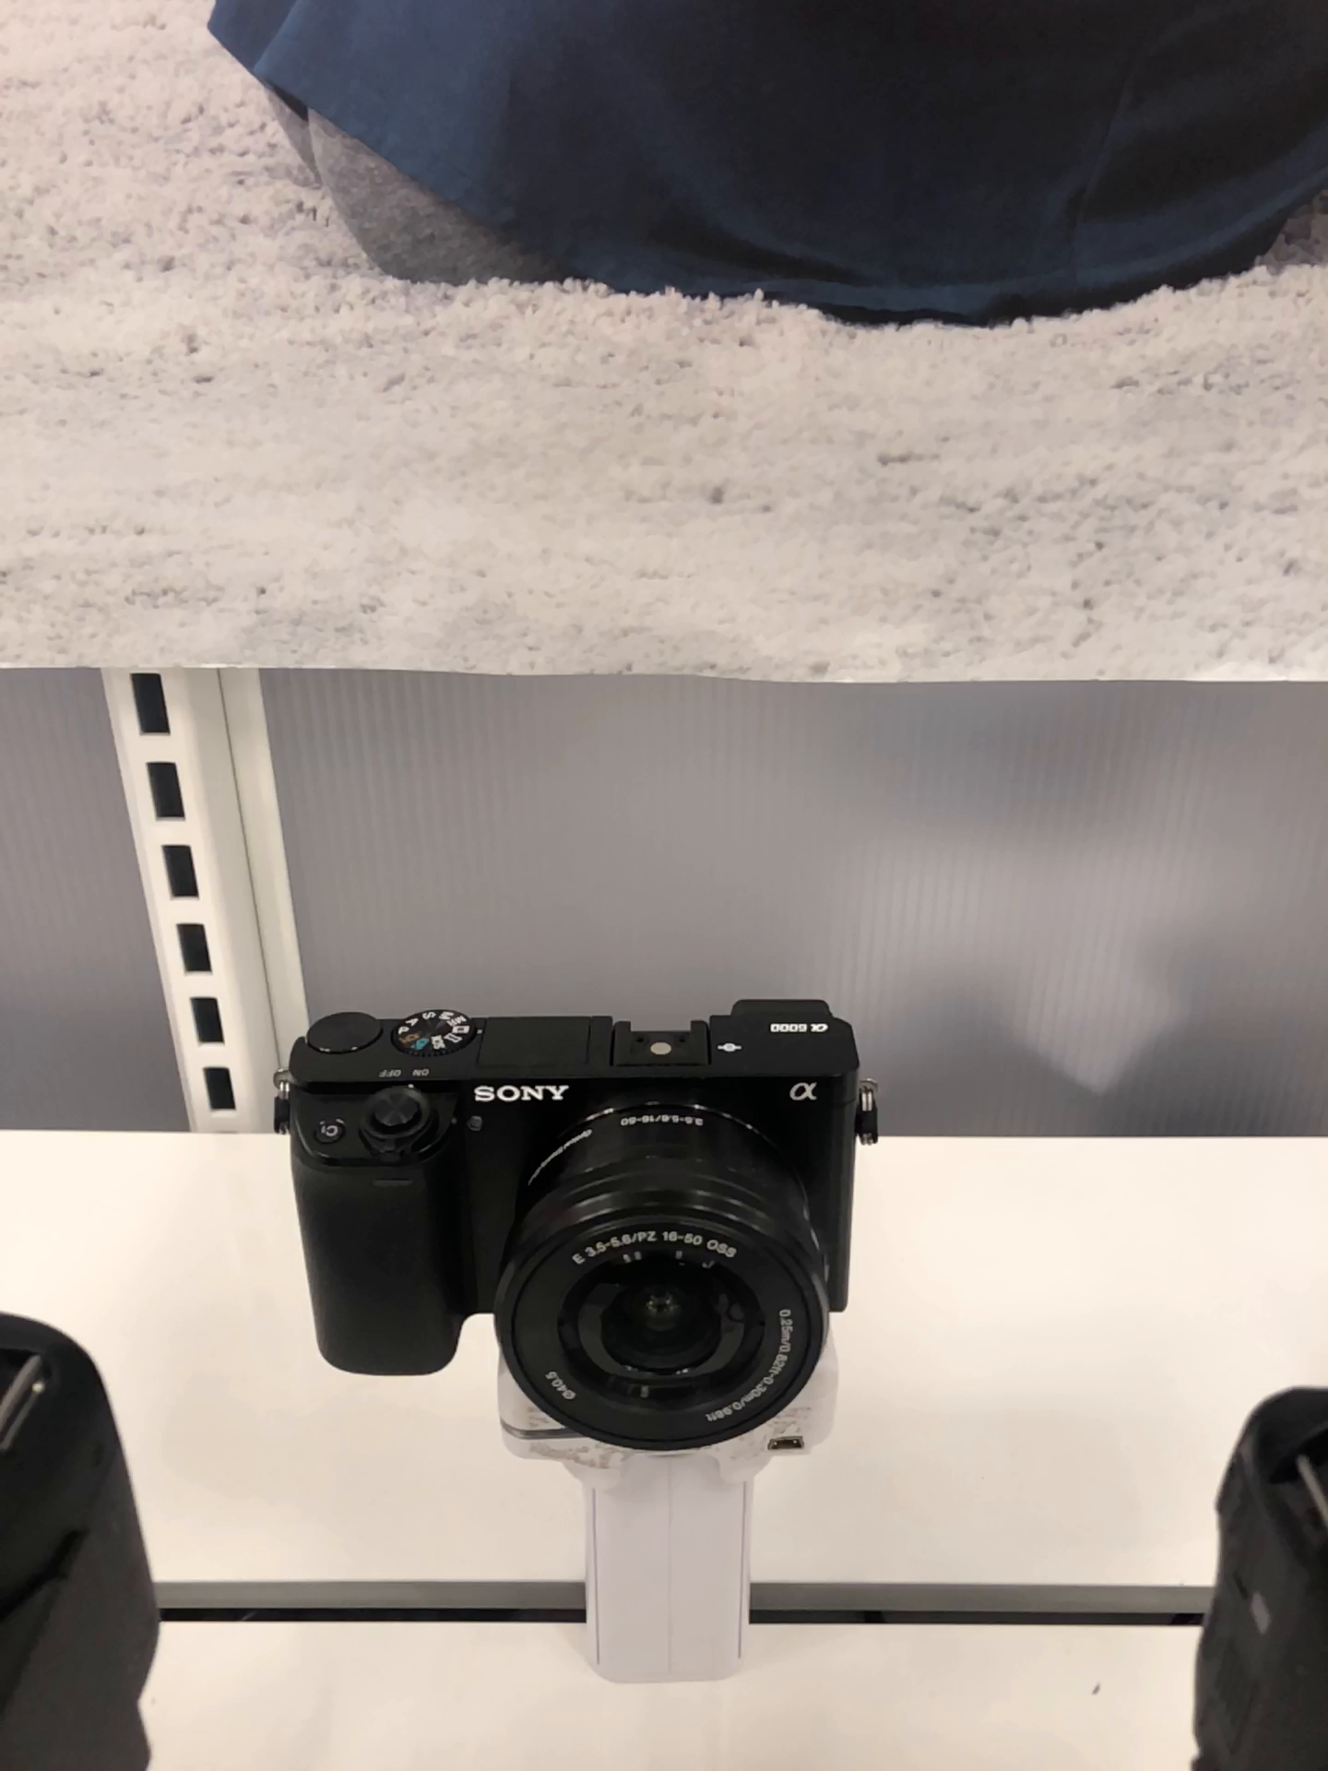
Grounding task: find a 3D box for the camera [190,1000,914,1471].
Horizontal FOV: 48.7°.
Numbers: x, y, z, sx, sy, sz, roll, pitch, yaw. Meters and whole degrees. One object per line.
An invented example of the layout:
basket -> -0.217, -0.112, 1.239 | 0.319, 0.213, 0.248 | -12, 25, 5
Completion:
camera -> -0.019, 0.066, 0.287 | 0.120, 0.058, 0.068 | 0, 29, -1
